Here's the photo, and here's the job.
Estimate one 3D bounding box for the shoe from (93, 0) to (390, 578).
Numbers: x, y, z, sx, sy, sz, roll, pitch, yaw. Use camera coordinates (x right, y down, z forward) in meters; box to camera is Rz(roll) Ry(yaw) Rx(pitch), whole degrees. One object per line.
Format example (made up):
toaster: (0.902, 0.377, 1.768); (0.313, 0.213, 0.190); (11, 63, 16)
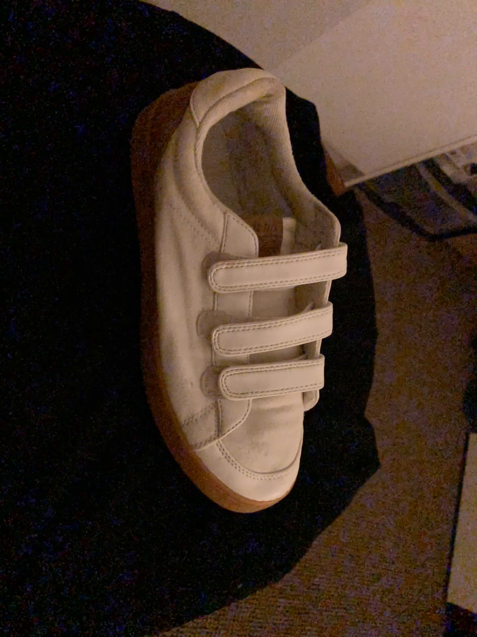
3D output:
shoe: (0.002, -0.018, 0.270); (0.097, 0.080, 0.254); (-10, 91, -37)
